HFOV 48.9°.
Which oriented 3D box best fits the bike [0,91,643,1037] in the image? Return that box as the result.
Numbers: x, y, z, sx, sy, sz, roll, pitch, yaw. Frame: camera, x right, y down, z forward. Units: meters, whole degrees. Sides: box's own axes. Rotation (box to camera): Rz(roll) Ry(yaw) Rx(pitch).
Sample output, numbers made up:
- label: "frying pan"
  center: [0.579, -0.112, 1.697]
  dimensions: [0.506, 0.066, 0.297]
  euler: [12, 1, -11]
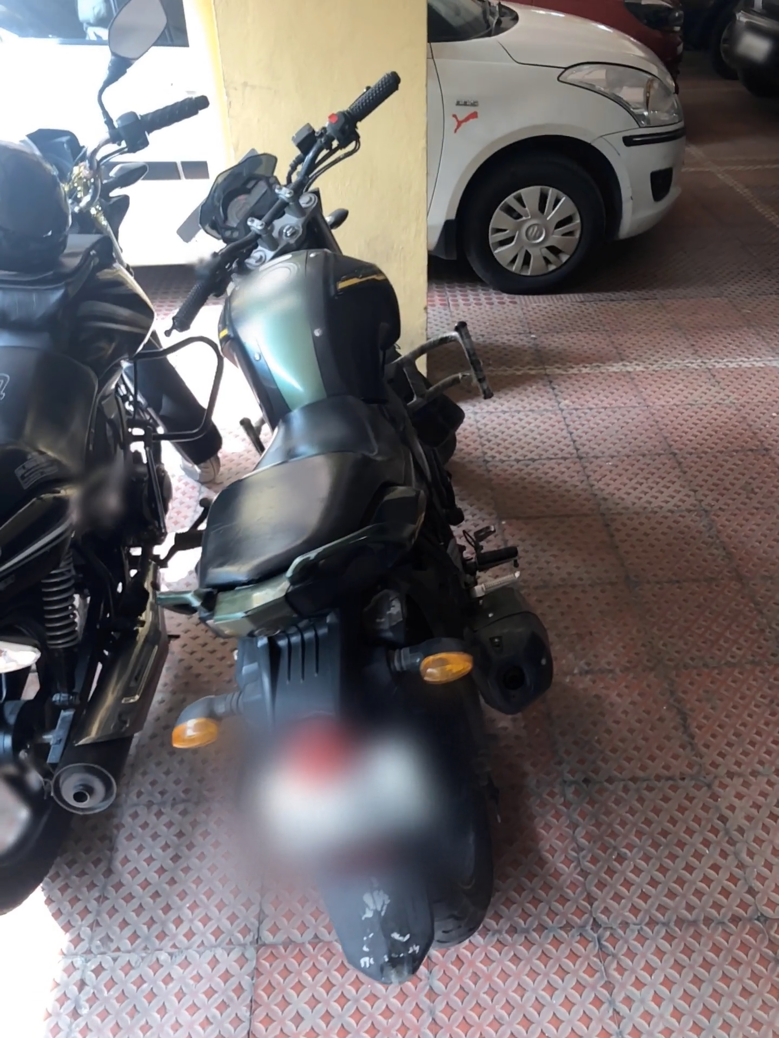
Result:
- label: "bike"
  center: [-0.274, -0.148, 1.779]
  dimensions: [0.739, 1.090, 1.818]
  euler: [-6, 35, -6]
